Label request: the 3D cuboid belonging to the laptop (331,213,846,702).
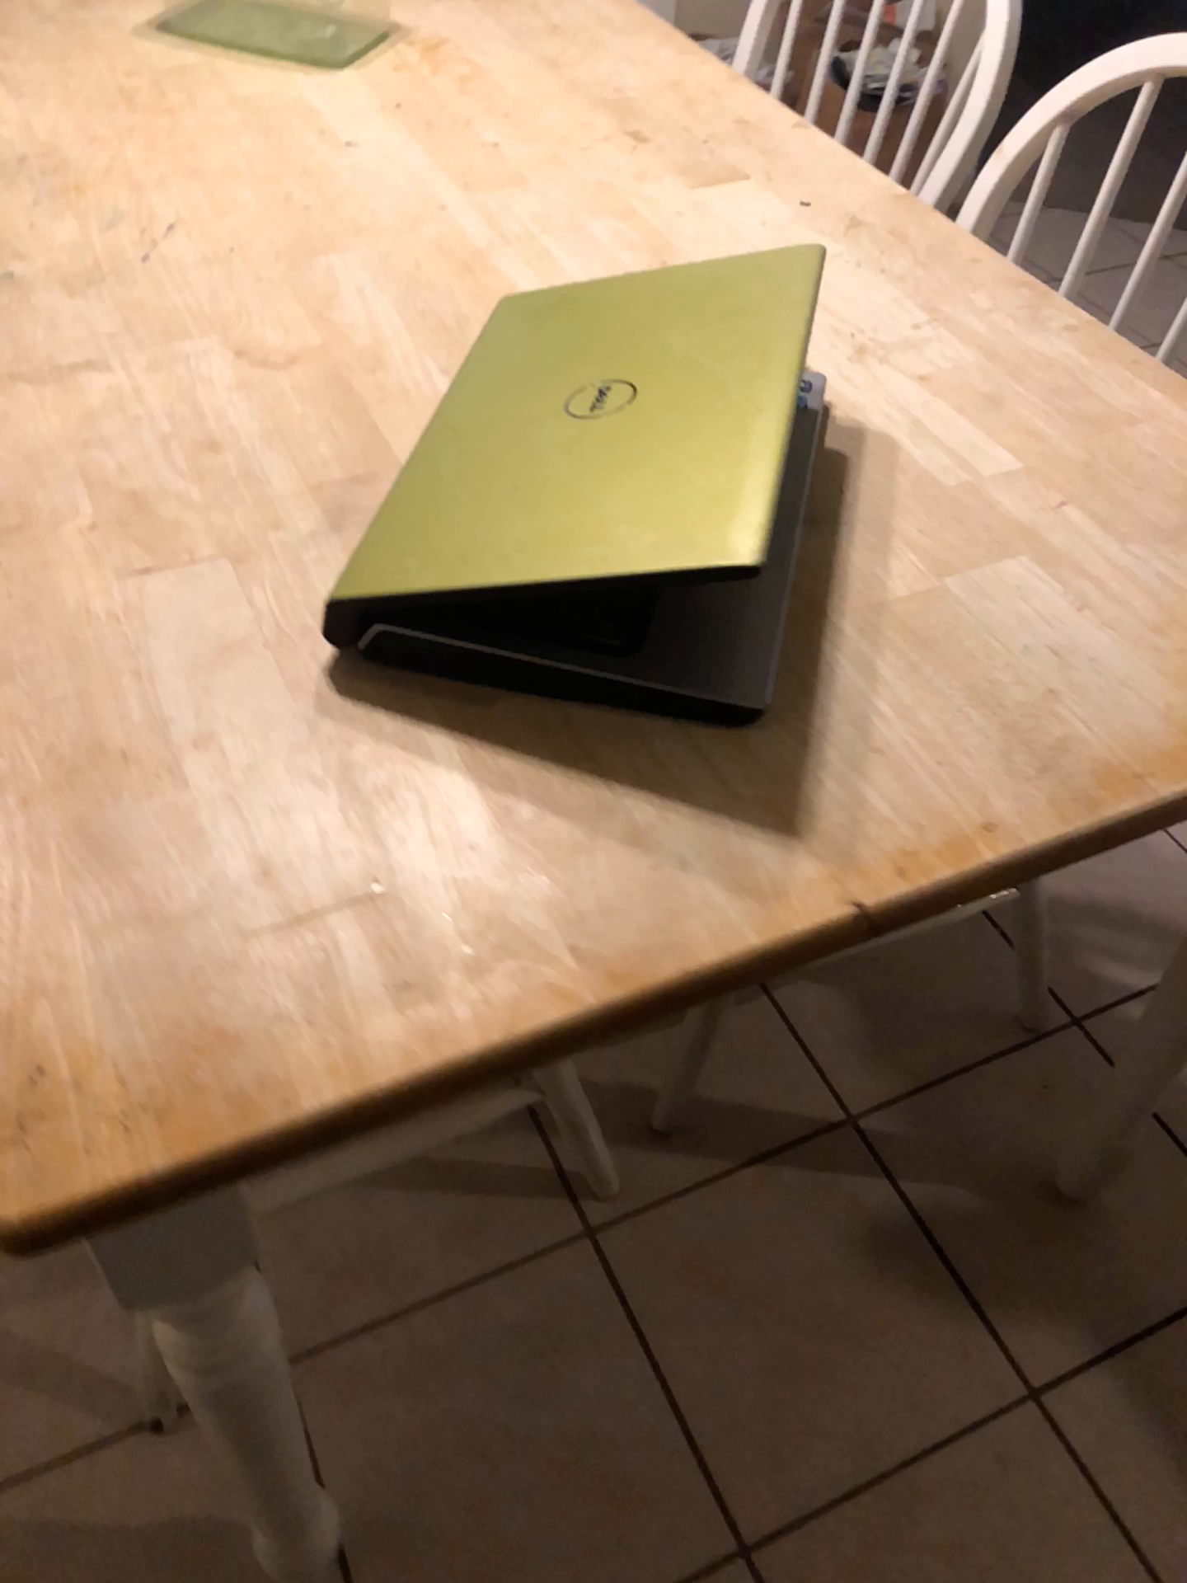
[{"bbox_3d":[0.019,-0.220,0.783,0.227,0.076,0.360,12,46,5],"label":"laptop"}]
